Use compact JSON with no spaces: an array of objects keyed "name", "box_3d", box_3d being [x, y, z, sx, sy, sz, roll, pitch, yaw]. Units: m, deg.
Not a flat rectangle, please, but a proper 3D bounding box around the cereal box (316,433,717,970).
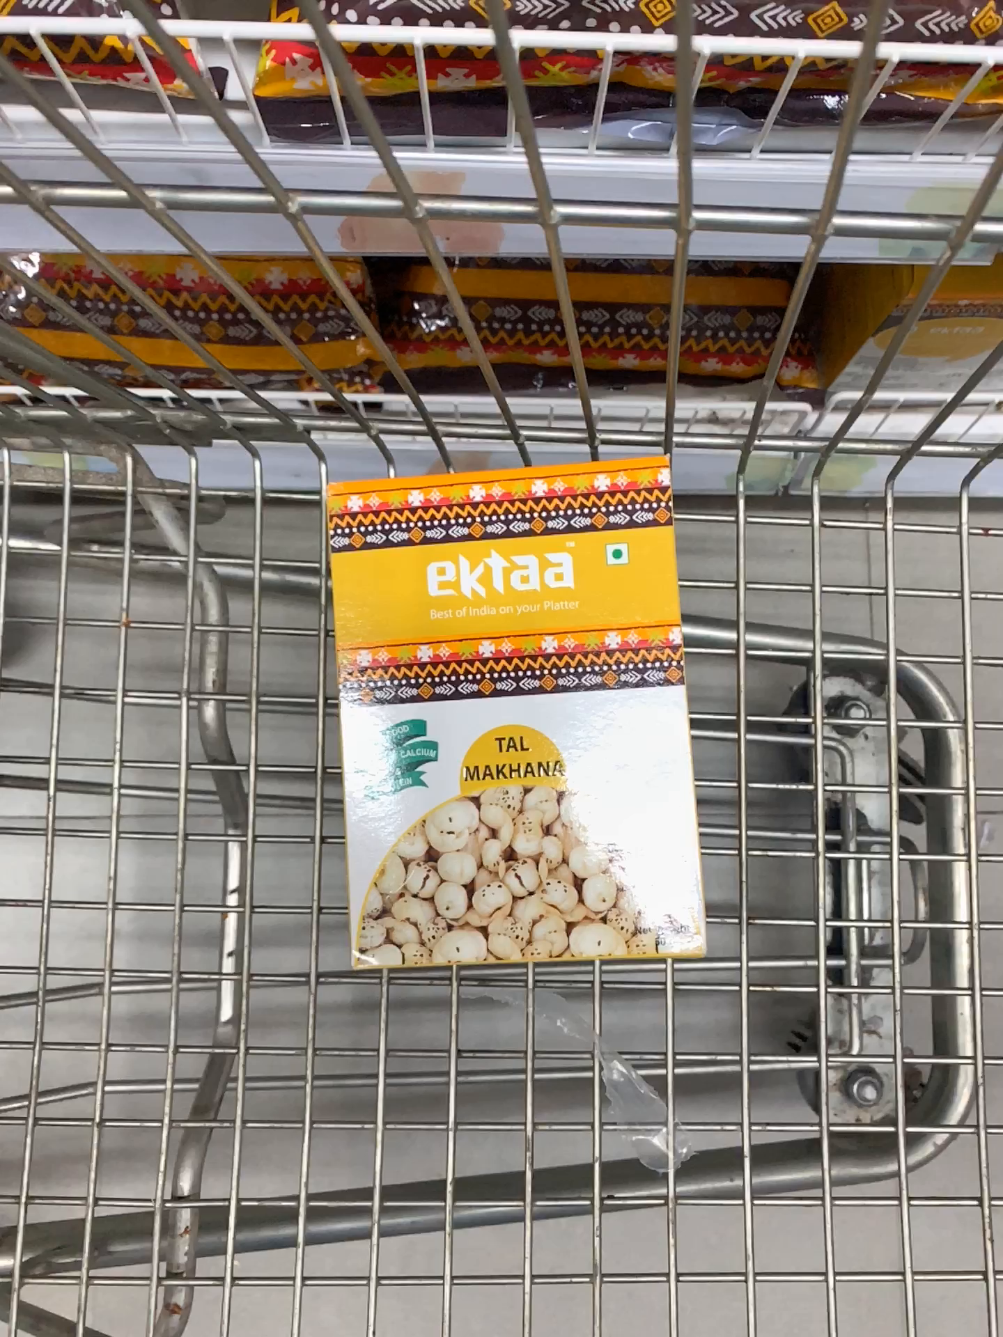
[{"name":"cereal box","box_3d":[0.007,0.014,0.394,0.130,0.070,0.180,-4,87,6]}]
